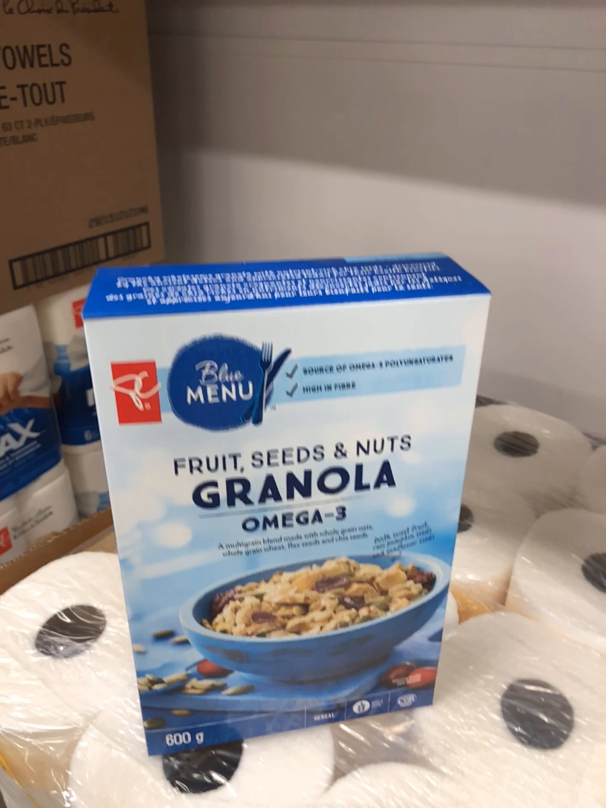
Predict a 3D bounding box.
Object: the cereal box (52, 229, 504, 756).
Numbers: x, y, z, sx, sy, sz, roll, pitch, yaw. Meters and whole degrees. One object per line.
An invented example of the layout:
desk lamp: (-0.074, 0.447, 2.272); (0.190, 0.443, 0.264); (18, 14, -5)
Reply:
cereal box: (-0.009, 0.049, 0.319); (0.160, 0.239, 0.060); (-5, 28, -9)
